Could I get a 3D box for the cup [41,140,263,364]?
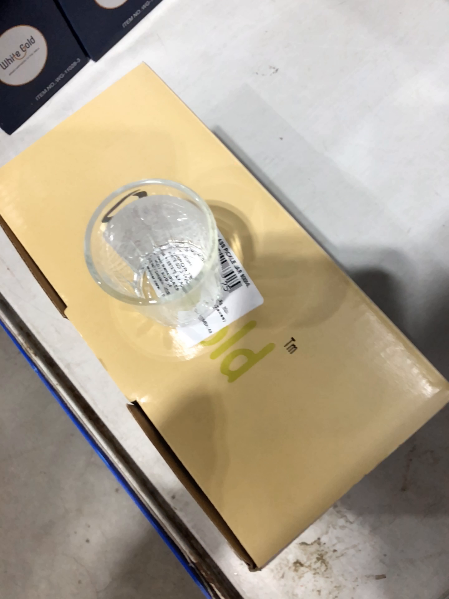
[{"bbox_3d":[-0.022,-0.014,0.192,0.050,0.060,0.050,-2,76,7],"label":"cup"}]
